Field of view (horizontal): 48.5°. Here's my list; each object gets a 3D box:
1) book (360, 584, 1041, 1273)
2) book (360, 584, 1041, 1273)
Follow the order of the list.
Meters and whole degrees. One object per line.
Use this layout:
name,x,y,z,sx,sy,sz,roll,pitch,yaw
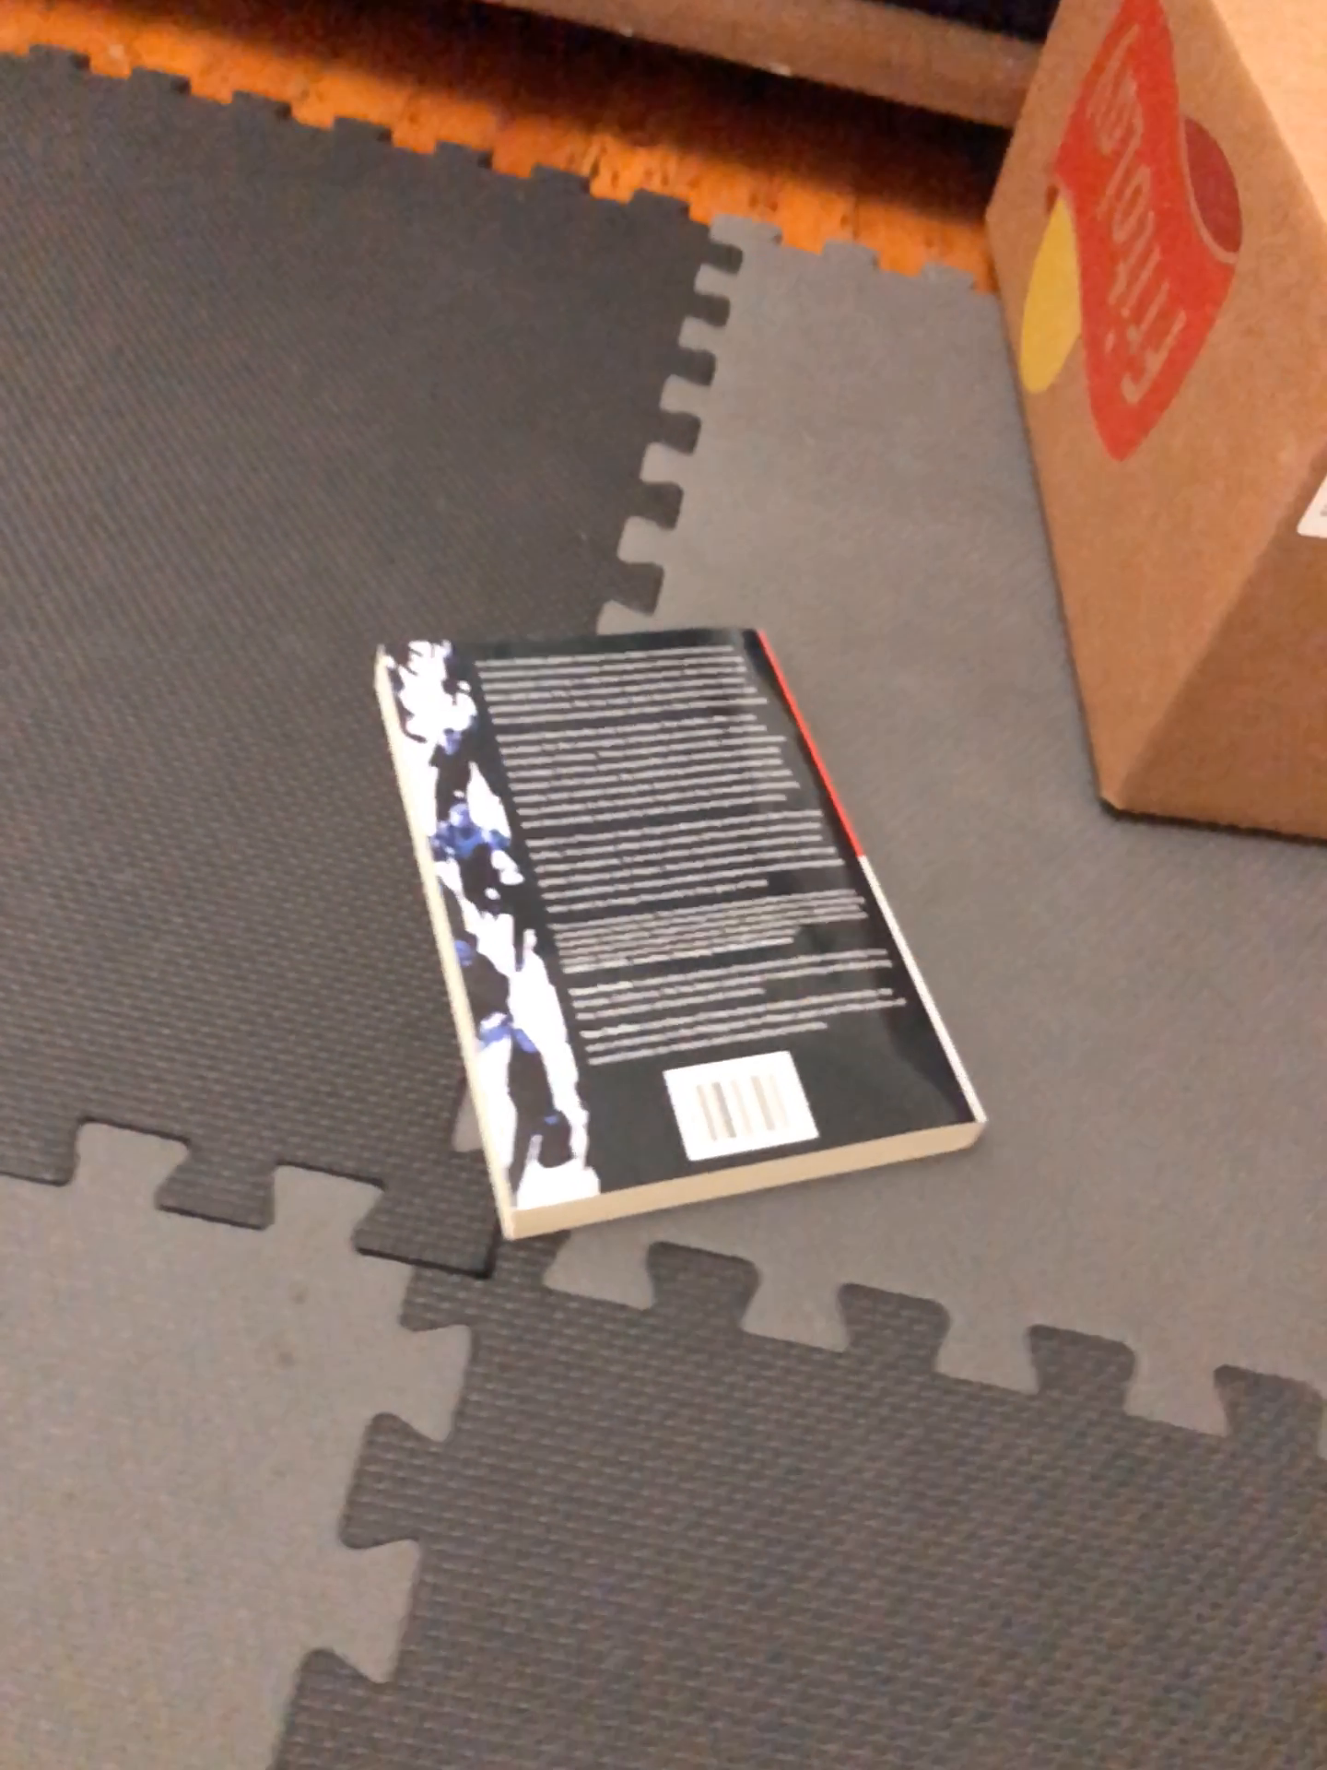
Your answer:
book,0.000,-0.005,0.458,0.150,0.020,0.231,-7,53,-17
book,0.000,-0.005,0.458,0.150,0.020,0.231,-7,53,-17
